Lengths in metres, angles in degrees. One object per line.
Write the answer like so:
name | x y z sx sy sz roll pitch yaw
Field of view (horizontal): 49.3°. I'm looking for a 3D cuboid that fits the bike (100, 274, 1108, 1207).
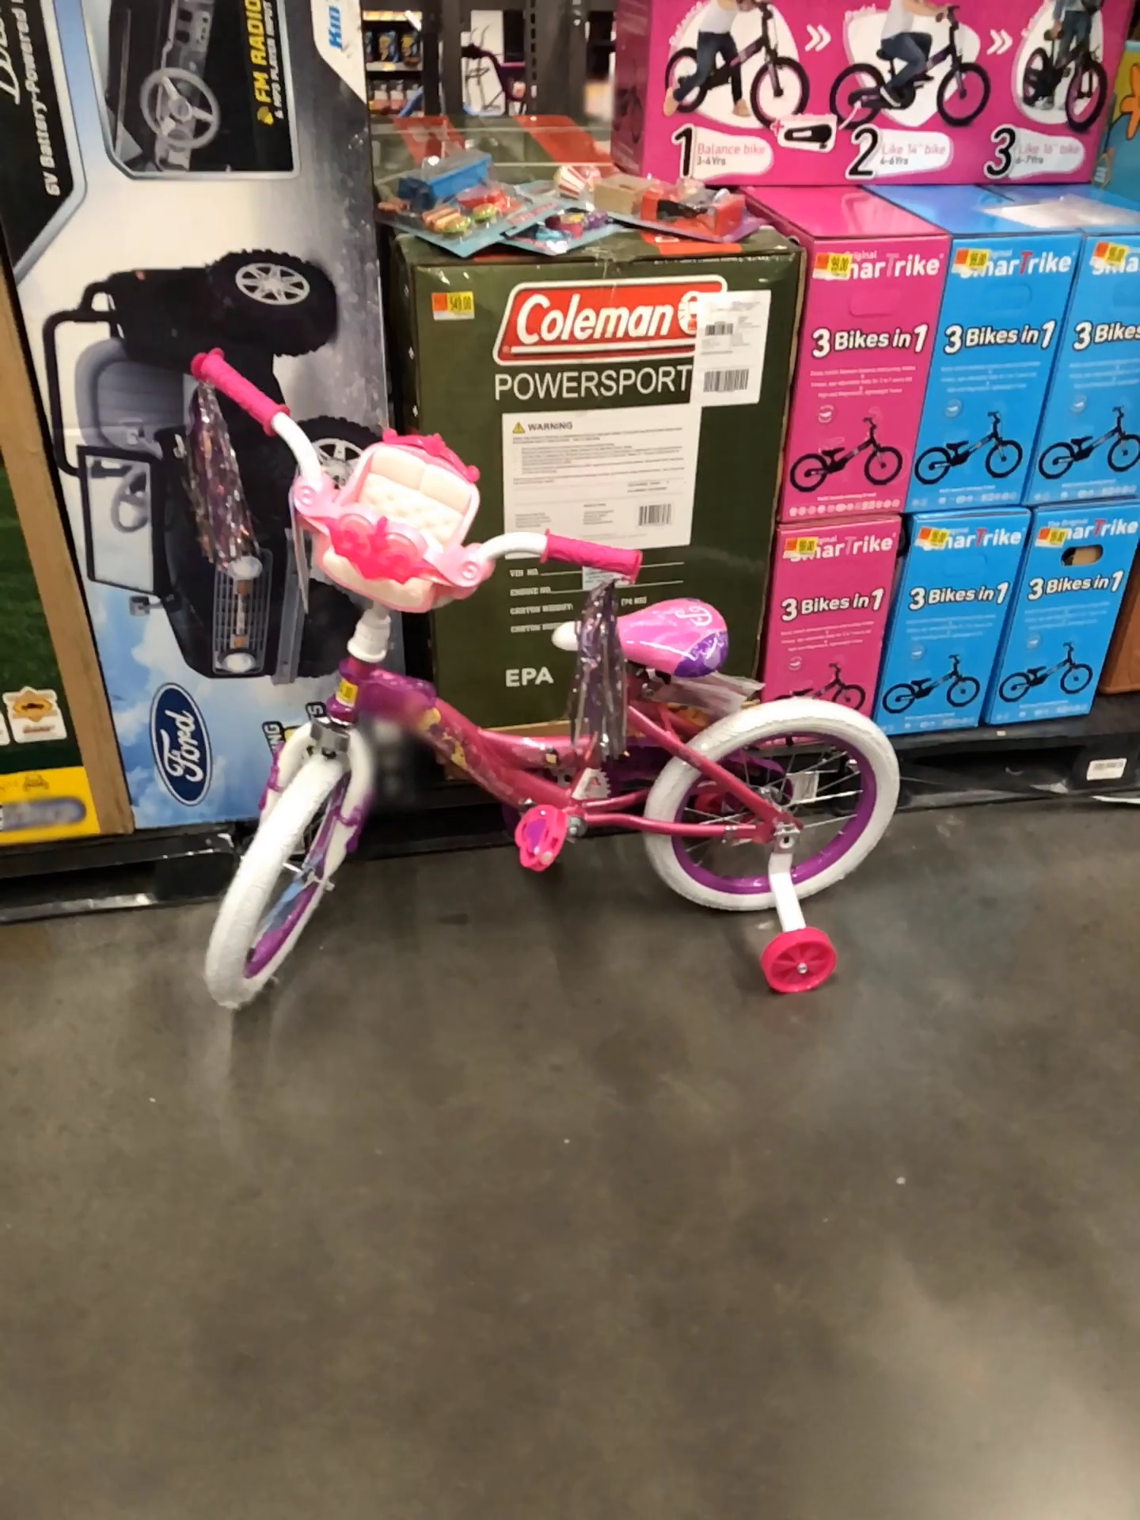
bike | 0.016 -0.057 1.553 0.949 0.854 0.479 -13 37 -18
